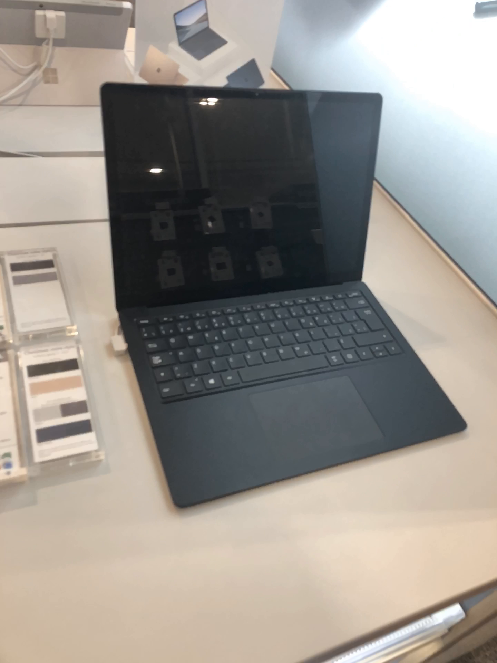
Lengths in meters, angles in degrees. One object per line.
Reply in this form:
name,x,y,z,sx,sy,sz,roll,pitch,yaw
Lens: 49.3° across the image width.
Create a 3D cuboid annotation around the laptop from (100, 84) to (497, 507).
laptop,0.044,-0.063,0.517,0.309,0.197,0.314,-8,48,-23
